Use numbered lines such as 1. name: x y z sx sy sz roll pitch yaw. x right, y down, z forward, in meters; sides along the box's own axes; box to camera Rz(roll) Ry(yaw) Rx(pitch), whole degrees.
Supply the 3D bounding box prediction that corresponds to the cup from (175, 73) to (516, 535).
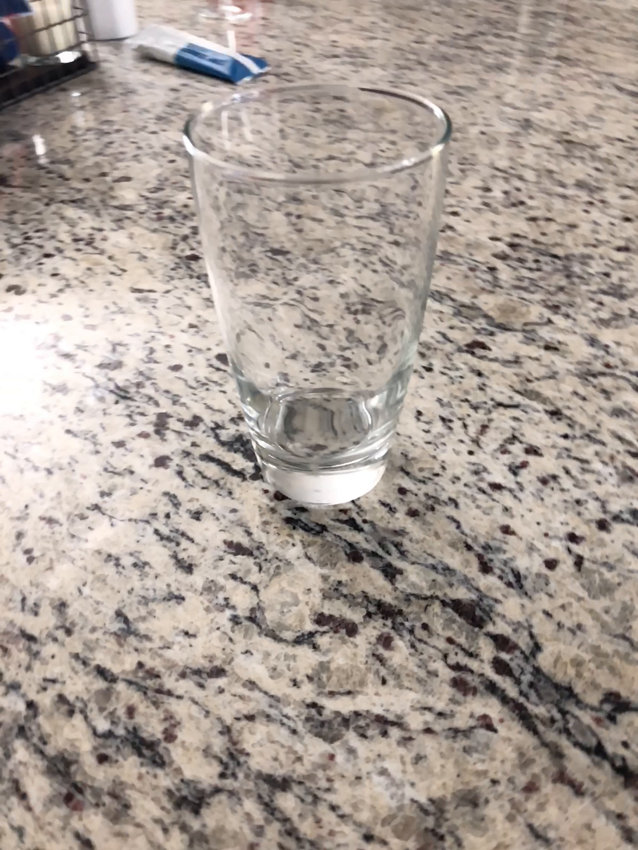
1. cup: 0.004 -0.041 0.261 0.090 0.139 0.081 -6 41 -5
